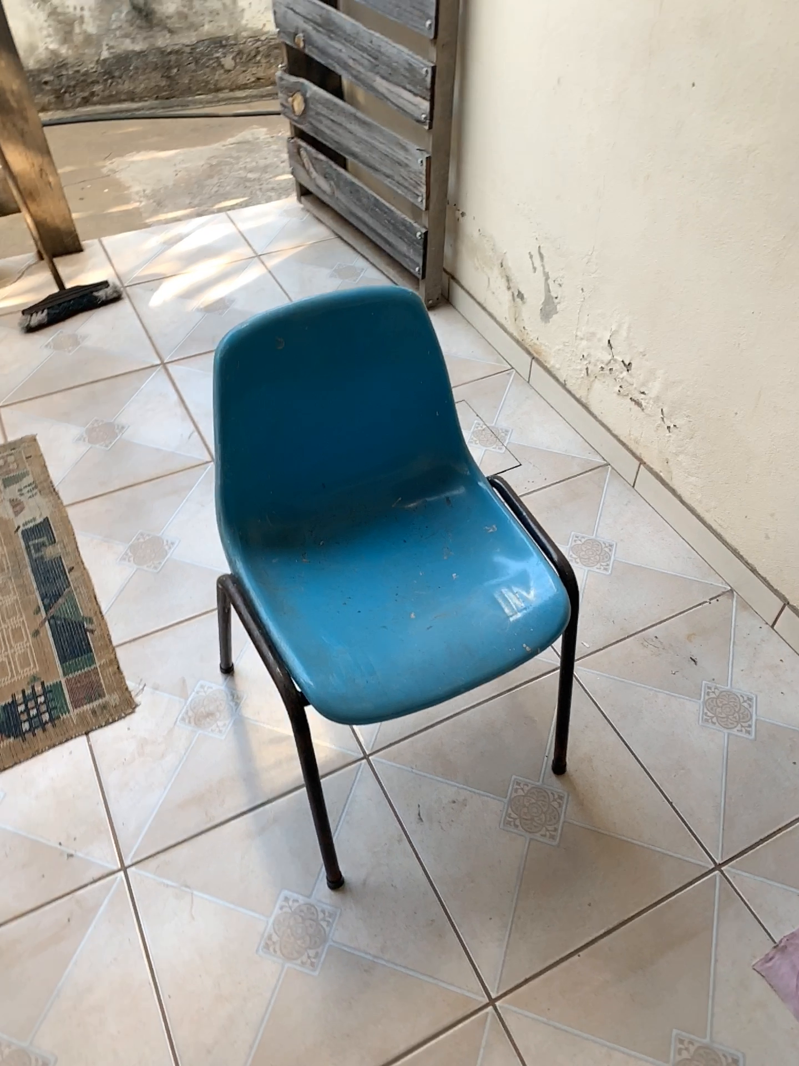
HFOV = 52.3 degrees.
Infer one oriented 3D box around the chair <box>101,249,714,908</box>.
[{"bbox_3d":[-0.018,0.076,1.229,0.551,0.686,0.532,-21,52,-17],"label":"chair"}]
